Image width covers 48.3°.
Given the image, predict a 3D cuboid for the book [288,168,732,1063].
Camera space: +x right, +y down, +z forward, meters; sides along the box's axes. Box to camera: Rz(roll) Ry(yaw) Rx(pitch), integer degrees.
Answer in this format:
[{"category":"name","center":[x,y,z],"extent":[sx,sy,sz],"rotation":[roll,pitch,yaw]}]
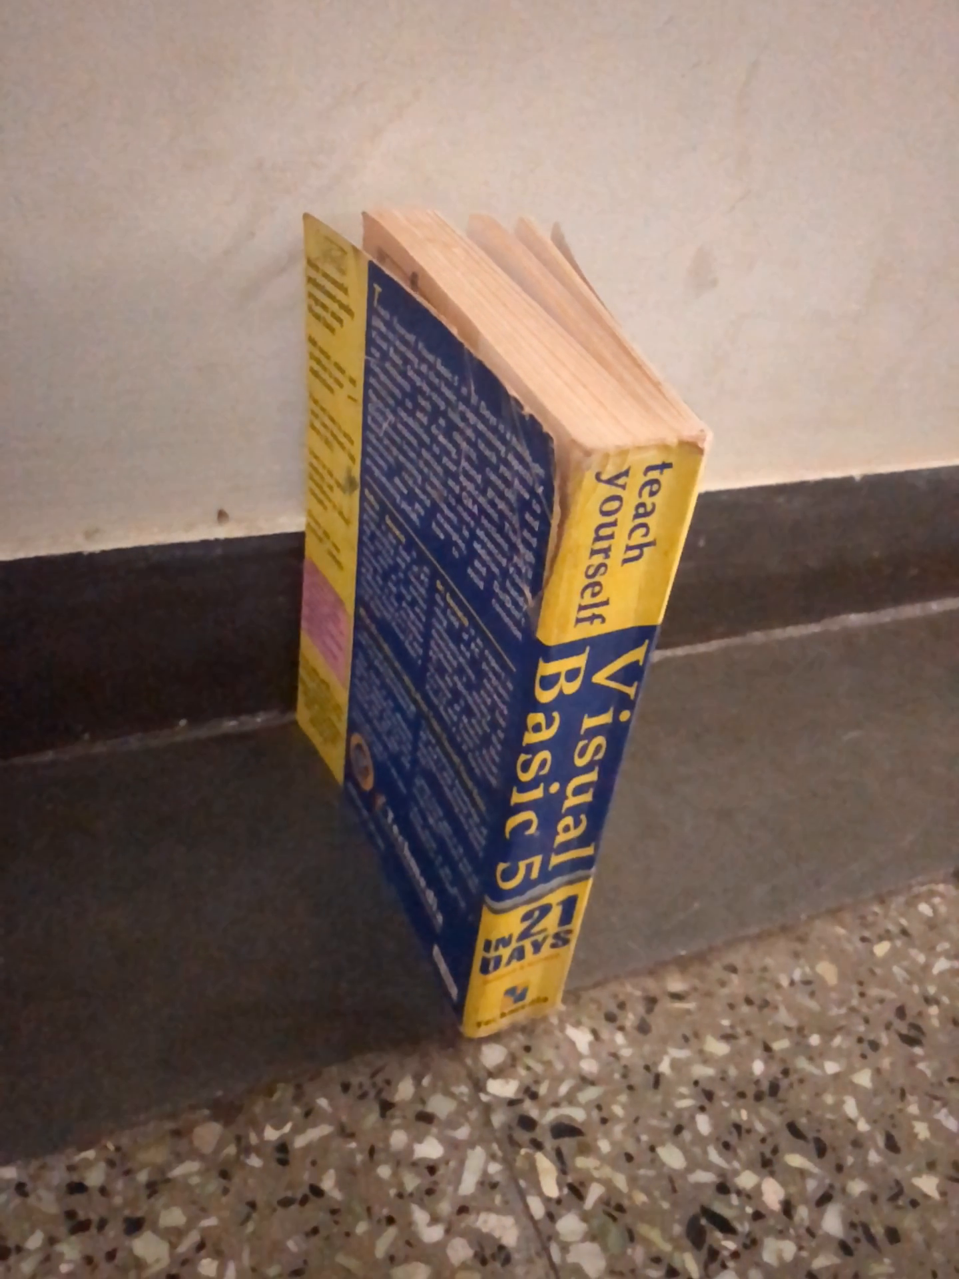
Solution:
[{"category":"book","center":[-0.015,-0.024,0.402],"extent":[0.060,0.229,0.251],"rotation":[-8,38,-16]}]
